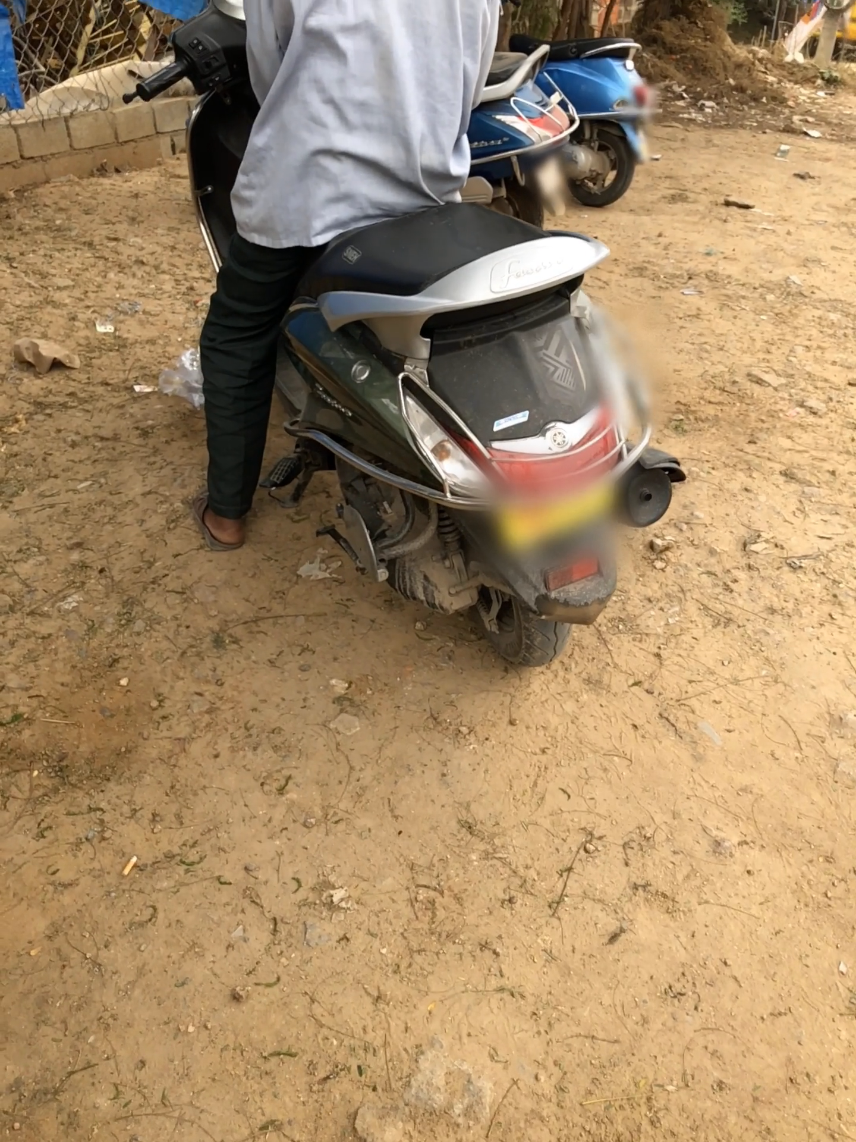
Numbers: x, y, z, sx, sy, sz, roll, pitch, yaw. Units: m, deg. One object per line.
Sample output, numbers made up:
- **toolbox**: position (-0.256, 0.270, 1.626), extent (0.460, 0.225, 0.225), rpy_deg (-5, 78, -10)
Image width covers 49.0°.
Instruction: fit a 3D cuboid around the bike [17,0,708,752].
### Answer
- **bike**: position (-0.320, -0.687, 1.979), extent (0.624, 1.054, 1.727), rpy_deg (-13, 38, -22)
